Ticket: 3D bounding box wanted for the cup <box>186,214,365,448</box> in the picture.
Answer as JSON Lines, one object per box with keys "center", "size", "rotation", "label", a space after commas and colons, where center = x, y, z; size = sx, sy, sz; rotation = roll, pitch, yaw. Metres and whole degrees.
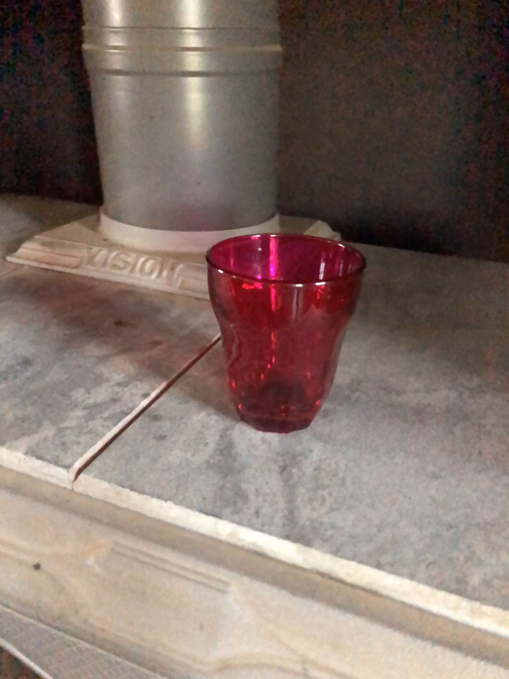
{"center": [0.013, -0.009, 0.270], "size": [0.070, 0.080, 0.081], "rotation": [5, 26, 8], "label": "cup"}
